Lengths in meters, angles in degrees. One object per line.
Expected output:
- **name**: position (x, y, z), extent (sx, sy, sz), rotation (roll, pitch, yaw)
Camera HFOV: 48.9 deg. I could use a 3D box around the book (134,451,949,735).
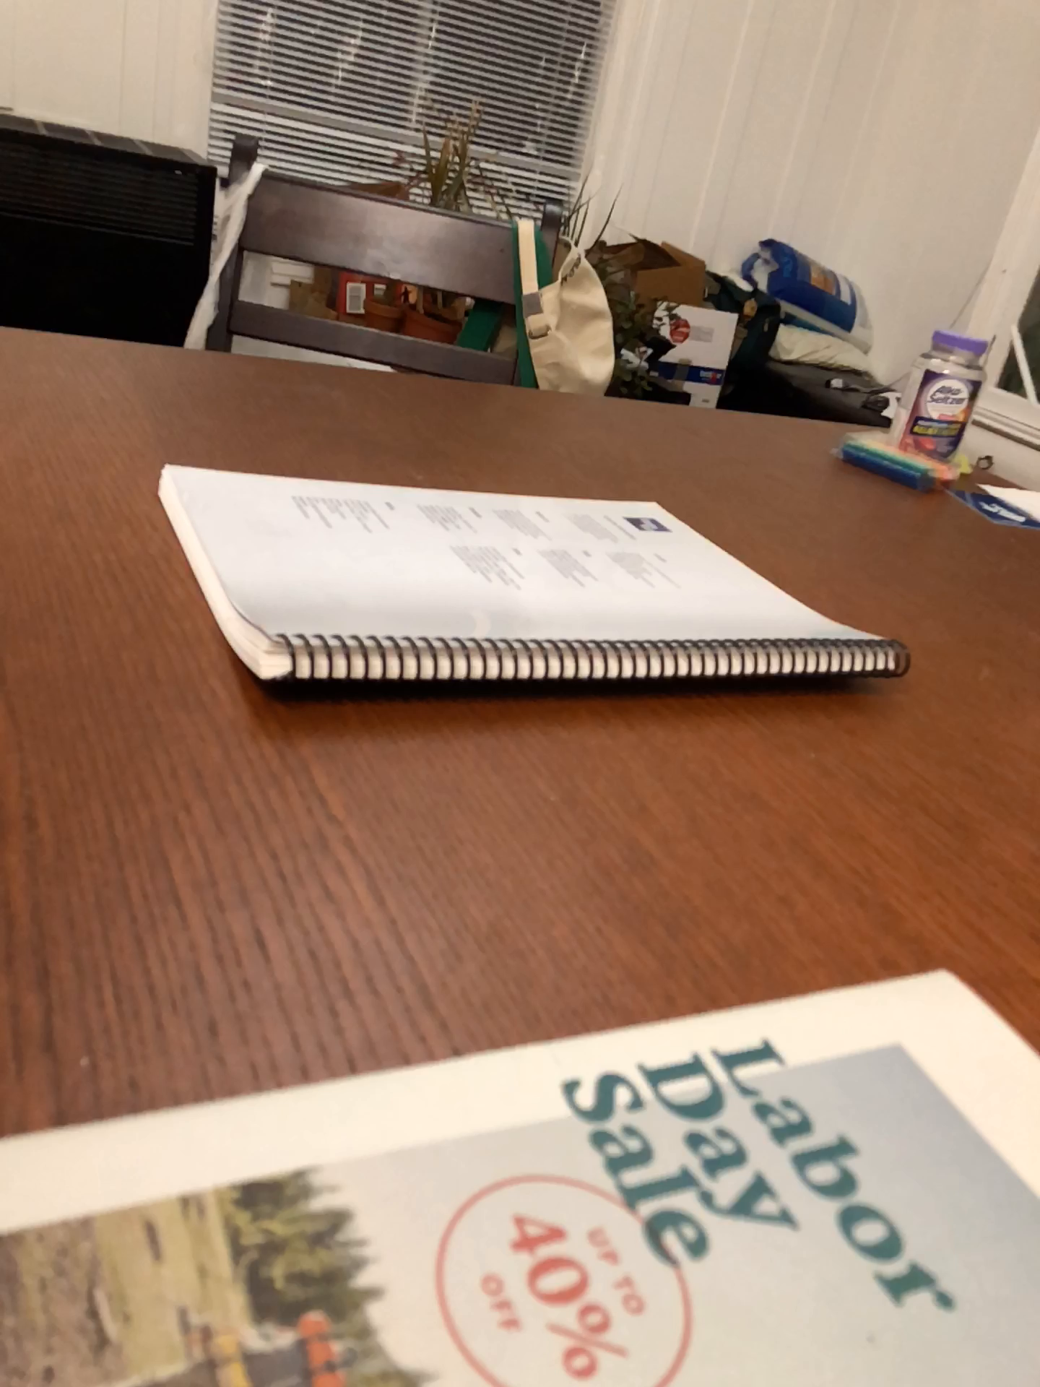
- **book**: position (0.000, -0.053, 0.514), extent (0.301, 0.020, 0.231), rotation (-1, 29, -27)
